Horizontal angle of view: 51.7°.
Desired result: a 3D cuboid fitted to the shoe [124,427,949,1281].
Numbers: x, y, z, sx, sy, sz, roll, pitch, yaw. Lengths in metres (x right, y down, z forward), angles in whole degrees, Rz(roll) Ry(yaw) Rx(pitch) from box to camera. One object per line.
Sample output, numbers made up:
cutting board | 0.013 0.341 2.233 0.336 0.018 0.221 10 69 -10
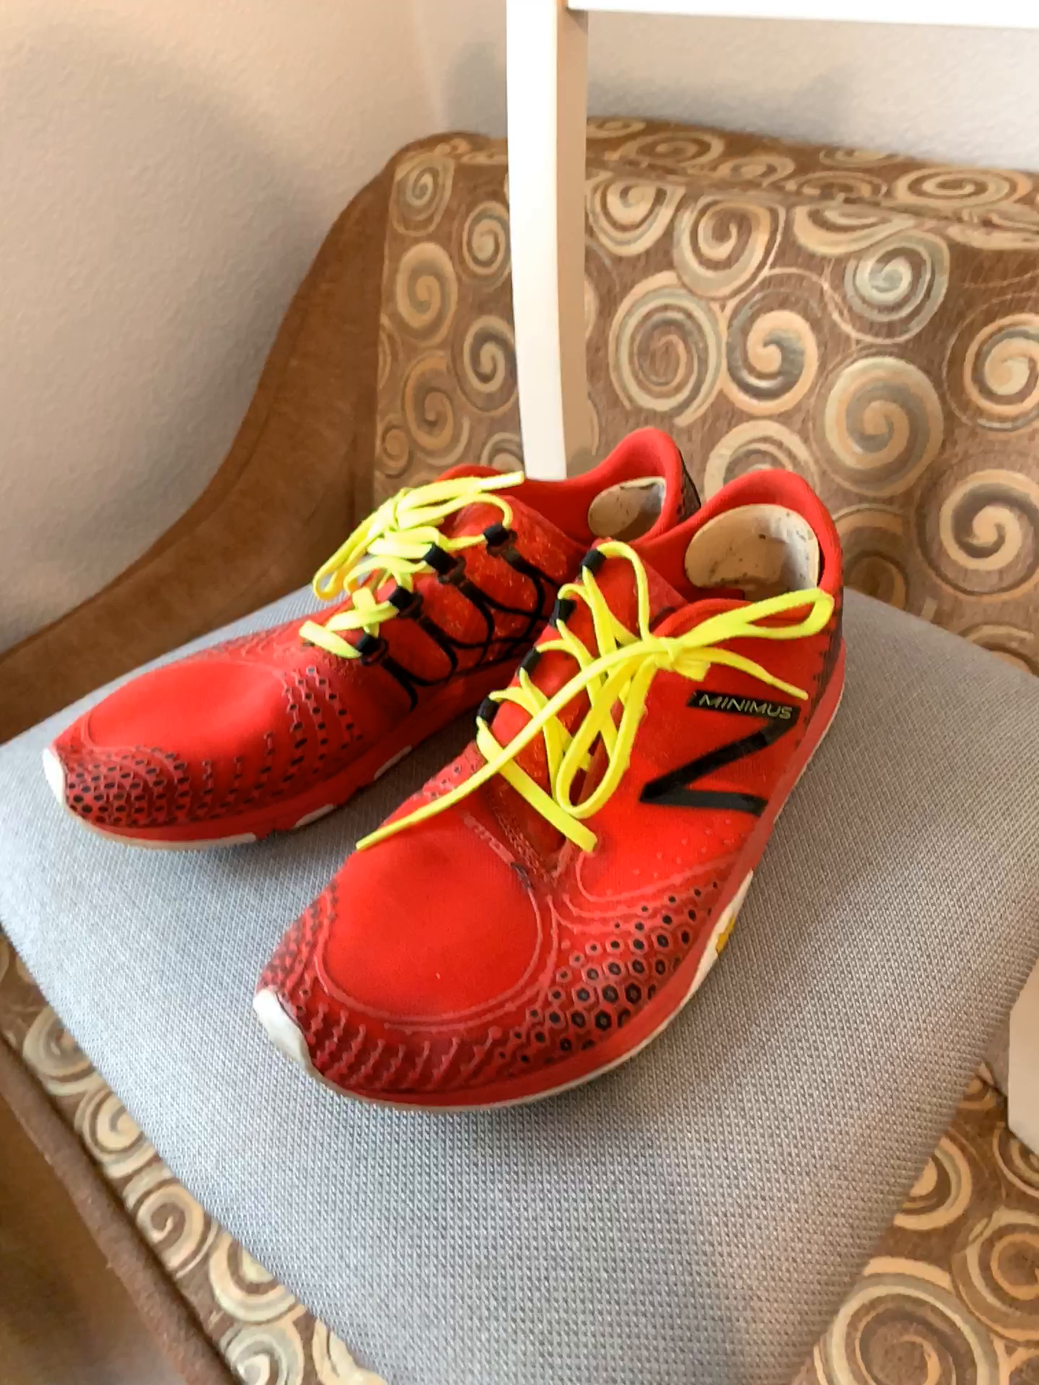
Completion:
shoe | 0.025 0.027 0.351 0.110 0.090 0.260 25 54 33

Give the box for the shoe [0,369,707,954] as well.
shoe | -0.065 -0.024 0.433 0.260 0.090 0.111 -27 45 -15
